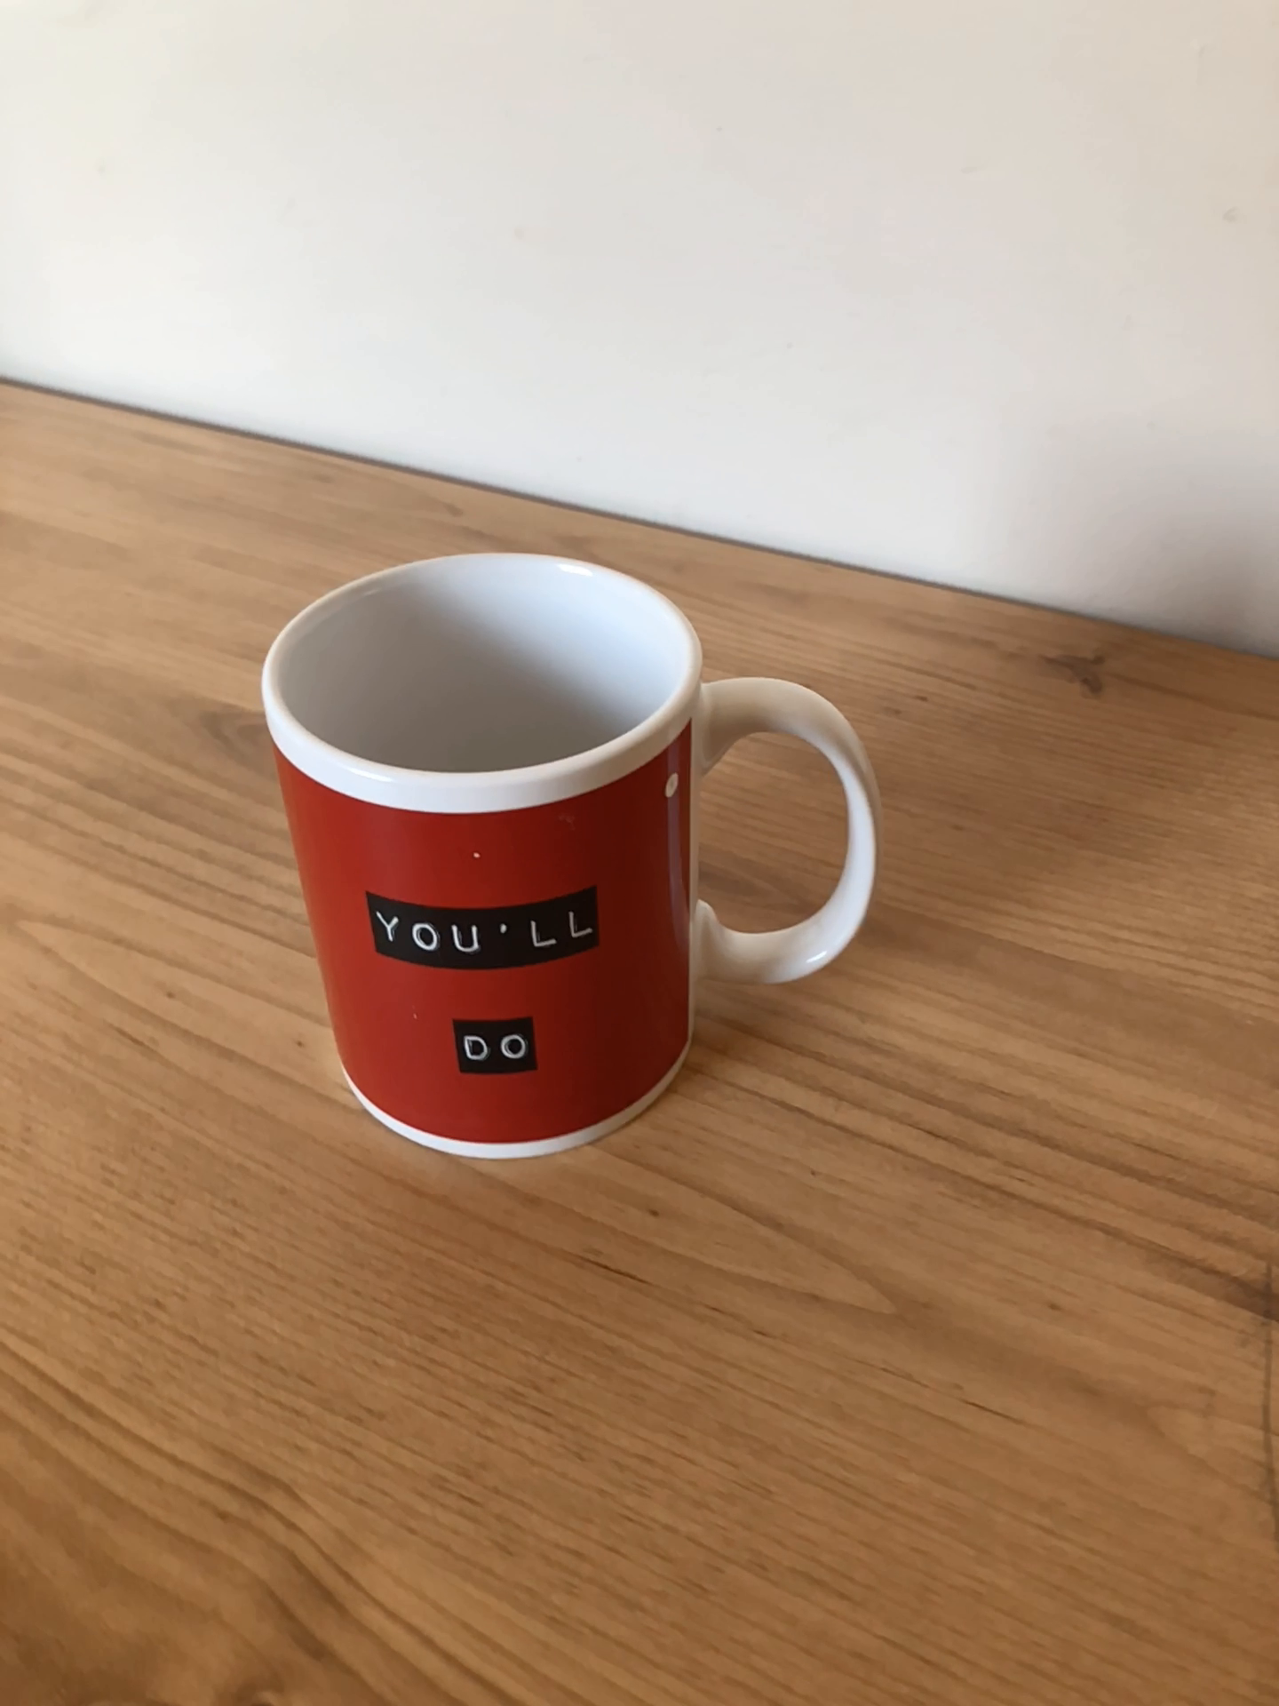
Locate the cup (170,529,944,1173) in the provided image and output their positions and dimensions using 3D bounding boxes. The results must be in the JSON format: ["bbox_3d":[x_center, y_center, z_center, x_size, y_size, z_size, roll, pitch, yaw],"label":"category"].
[{"bbox_3d":[-0.014,-0.003,0.289,0.123,0.086,0.091,-3,37,-2],"label":"cup"}]
